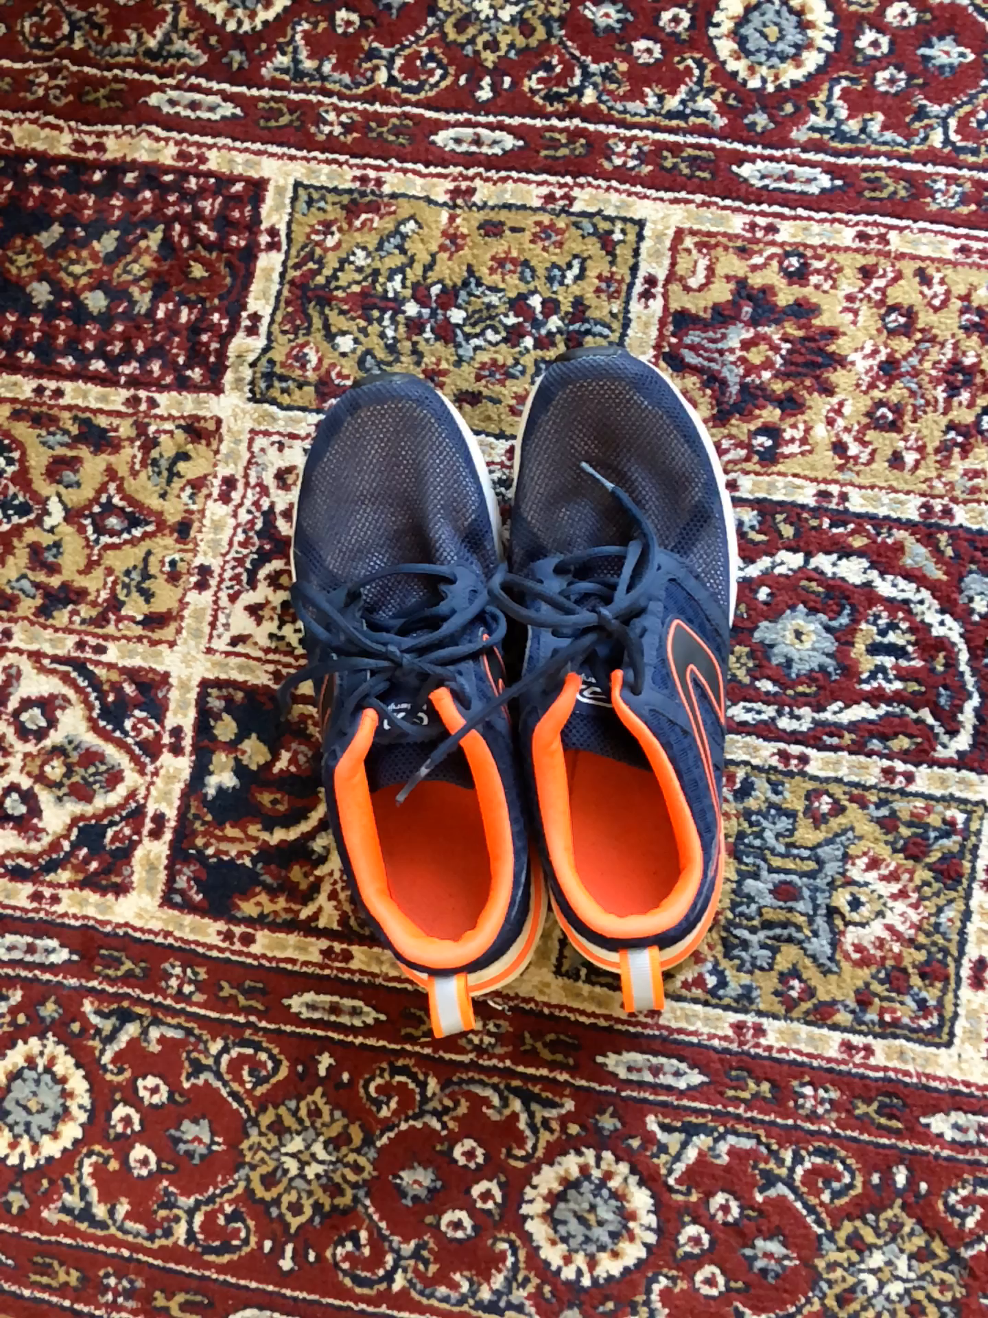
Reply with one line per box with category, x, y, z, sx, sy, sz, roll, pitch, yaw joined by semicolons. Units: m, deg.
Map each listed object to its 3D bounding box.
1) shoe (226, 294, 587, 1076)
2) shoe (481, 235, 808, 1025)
shoe;-0.036;0.013;0.541;0.120;0.130;0.330;-7;85;7
shoe;0.069;-0.010;0.527;0.120;0.130;0.330;-3;86;7
